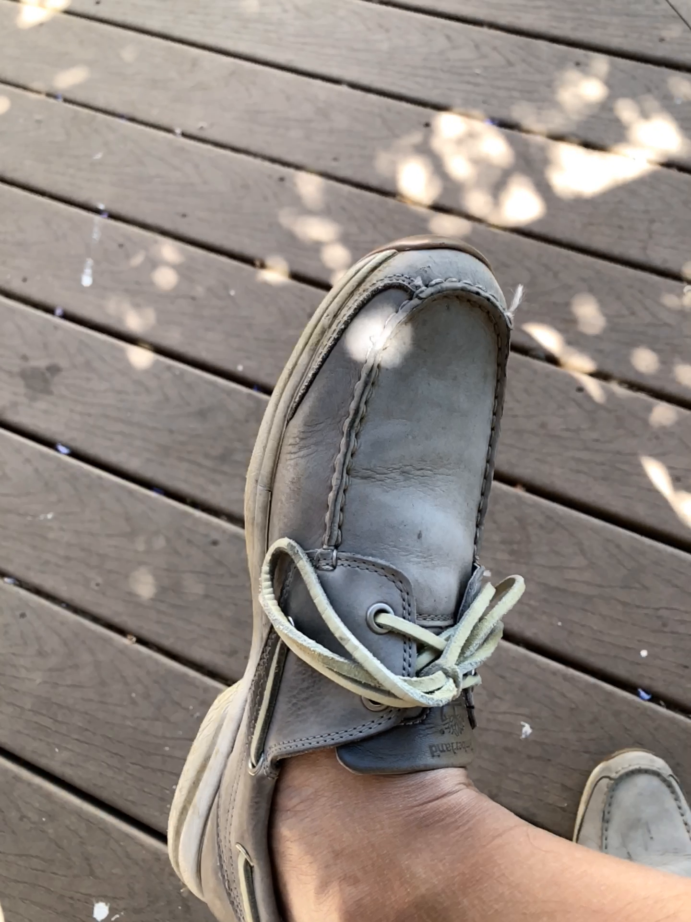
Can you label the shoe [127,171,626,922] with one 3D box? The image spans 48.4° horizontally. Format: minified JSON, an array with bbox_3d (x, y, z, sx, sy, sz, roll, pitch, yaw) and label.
[{"bbox_3d":[0.012,0.067,0.321,0.083,0.116,0.326,16,96,48],"label":"shoe"}]
